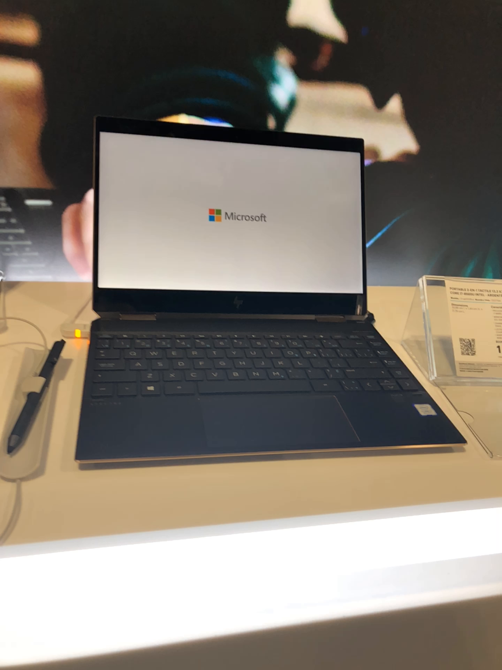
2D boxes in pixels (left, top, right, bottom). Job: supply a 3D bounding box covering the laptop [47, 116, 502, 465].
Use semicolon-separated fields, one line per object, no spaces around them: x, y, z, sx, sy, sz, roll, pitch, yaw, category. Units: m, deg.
0.000;-0.074;0.515;0.305;0.172;0.347;0;29;-13;laptop
